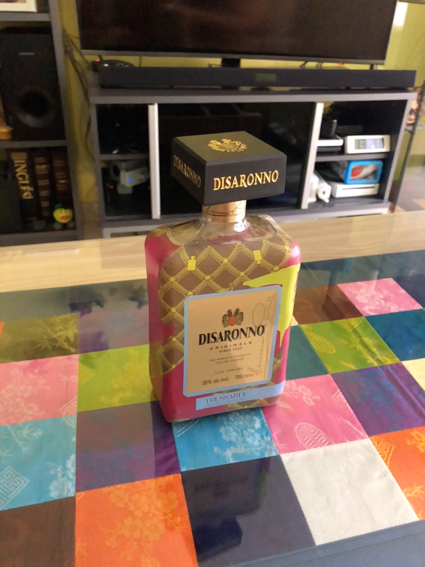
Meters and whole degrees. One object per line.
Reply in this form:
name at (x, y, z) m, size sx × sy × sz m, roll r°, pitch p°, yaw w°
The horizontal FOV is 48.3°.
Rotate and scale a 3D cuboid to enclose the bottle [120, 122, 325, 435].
bottle at (-0.001, 0.000, 0.379) m, size 0.120 × 0.229 × 0.080 m, roll -7°, pitch 33°, yaw -14°
